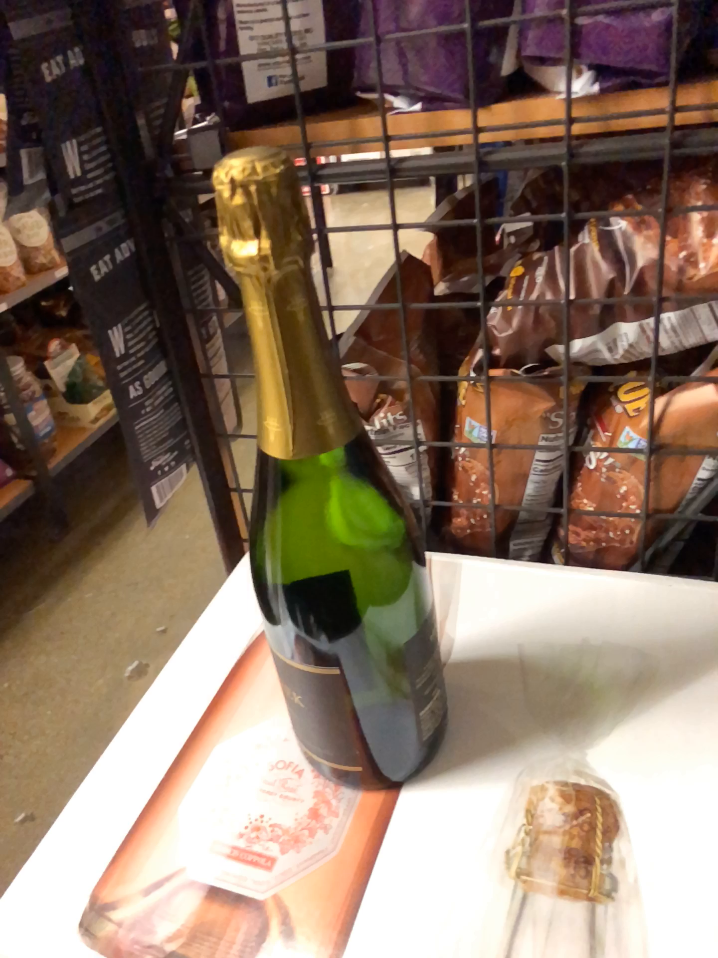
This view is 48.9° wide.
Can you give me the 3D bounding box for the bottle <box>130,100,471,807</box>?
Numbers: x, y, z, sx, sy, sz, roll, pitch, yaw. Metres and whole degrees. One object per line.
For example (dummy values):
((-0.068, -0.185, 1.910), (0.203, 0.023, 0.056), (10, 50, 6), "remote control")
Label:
((-0.010, 0.006, 0.362), (0.090, 0.309, 0.090), (-6, 30, 4), "bottle")
